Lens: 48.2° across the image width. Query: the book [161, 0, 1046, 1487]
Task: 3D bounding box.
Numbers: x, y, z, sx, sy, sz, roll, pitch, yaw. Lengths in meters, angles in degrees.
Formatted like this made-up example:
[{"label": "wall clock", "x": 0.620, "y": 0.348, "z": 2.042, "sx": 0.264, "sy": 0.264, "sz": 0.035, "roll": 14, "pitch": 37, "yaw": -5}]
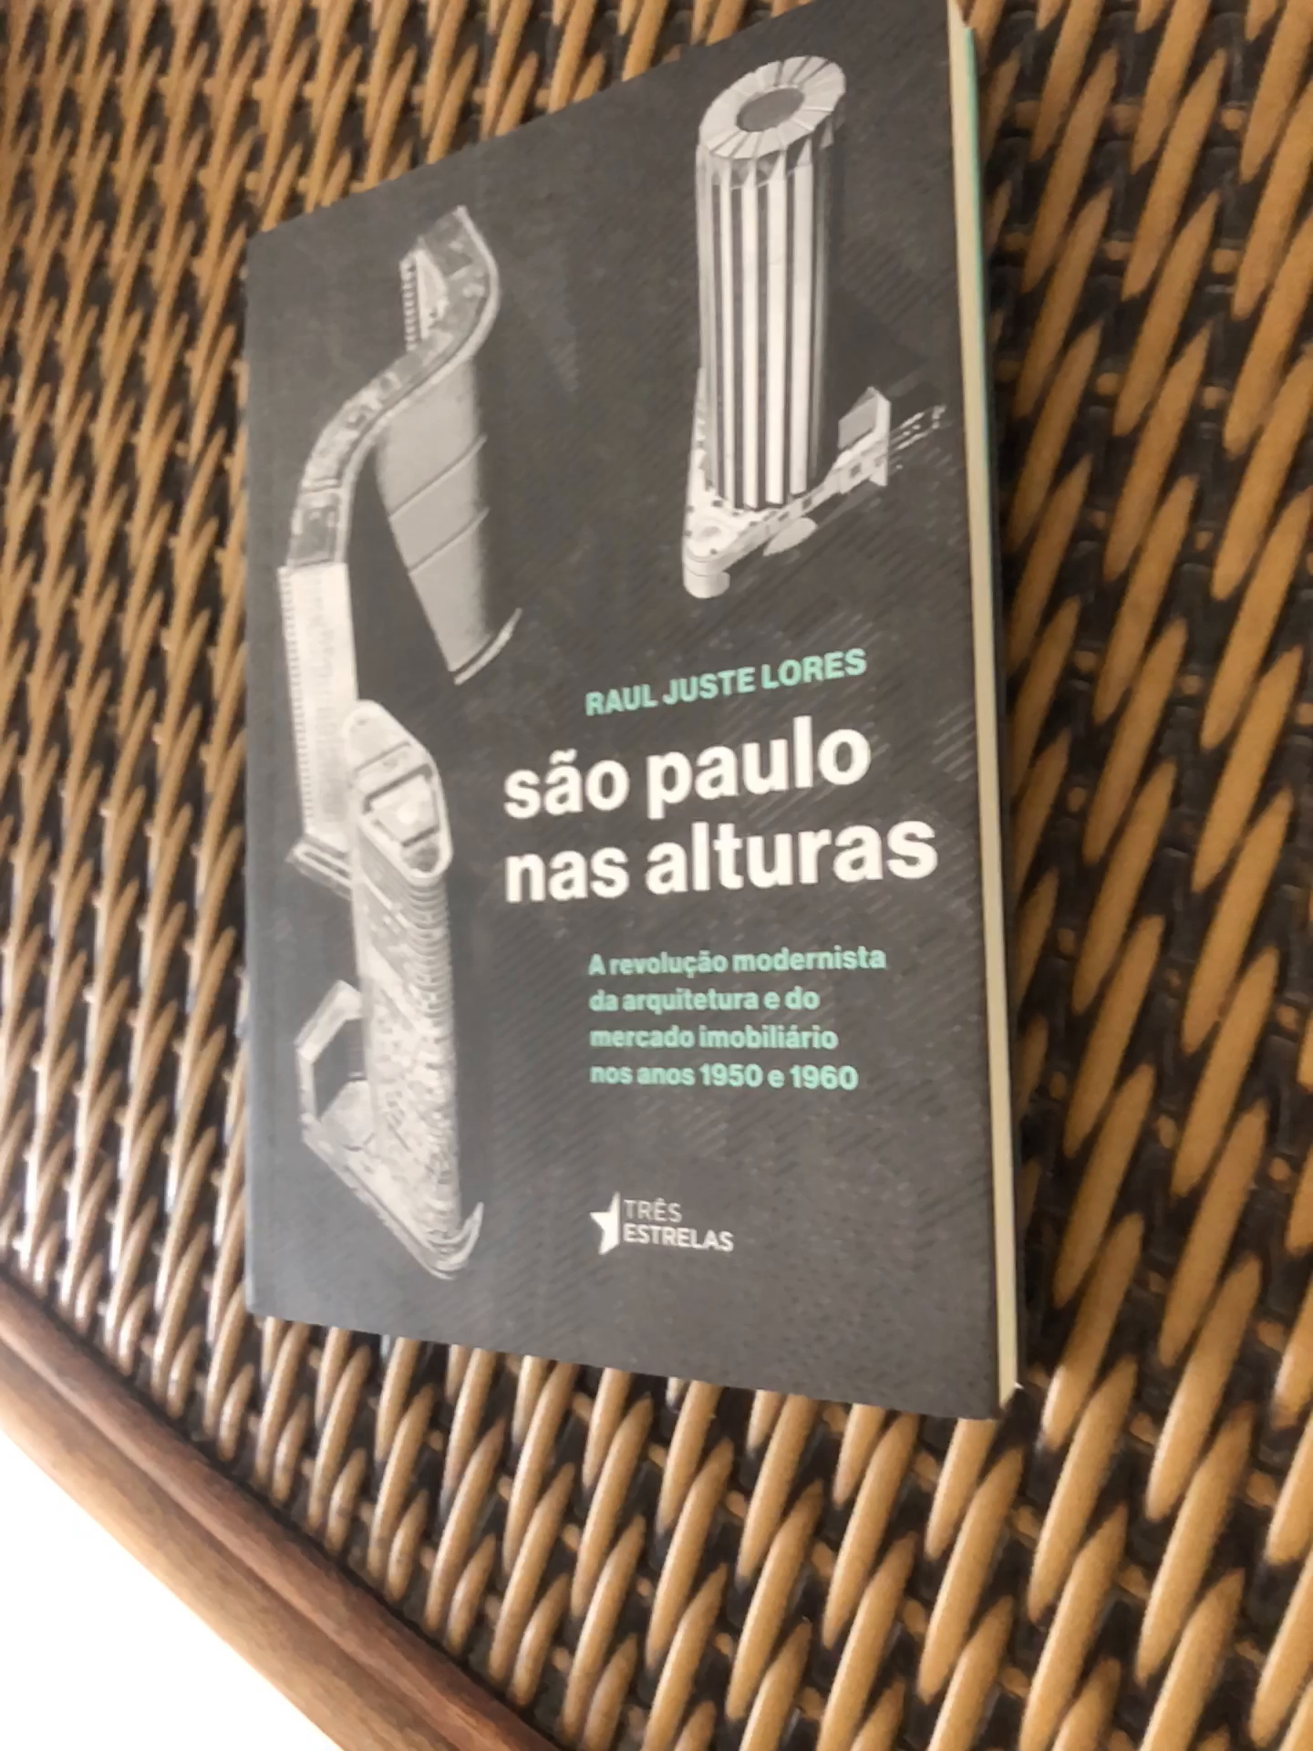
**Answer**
[{"label": "book", "x": -0.019, "y": -0.025, "z": 0.256, "sx": 0.160, "sy": 0.030, "sz": 0.221, "roll": -2, "pitch": 89, "yaw": 32}]
